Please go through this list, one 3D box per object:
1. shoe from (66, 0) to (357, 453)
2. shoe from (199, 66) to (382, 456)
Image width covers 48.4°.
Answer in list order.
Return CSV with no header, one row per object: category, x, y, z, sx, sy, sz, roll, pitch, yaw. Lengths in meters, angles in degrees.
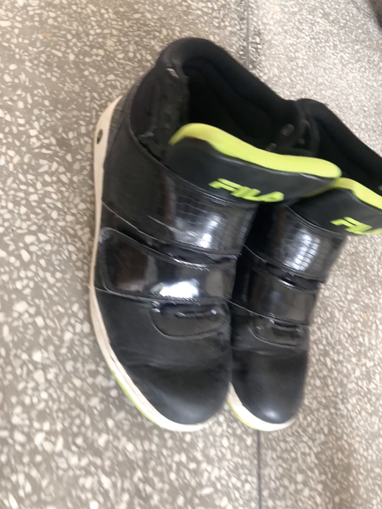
shoe,-0.005,-0.020,0.307,0.120,0.147,0.270,7,70,-35
shoe,0.099,0.017,0.346,0.120,0.147,0.250,14,66,-32
